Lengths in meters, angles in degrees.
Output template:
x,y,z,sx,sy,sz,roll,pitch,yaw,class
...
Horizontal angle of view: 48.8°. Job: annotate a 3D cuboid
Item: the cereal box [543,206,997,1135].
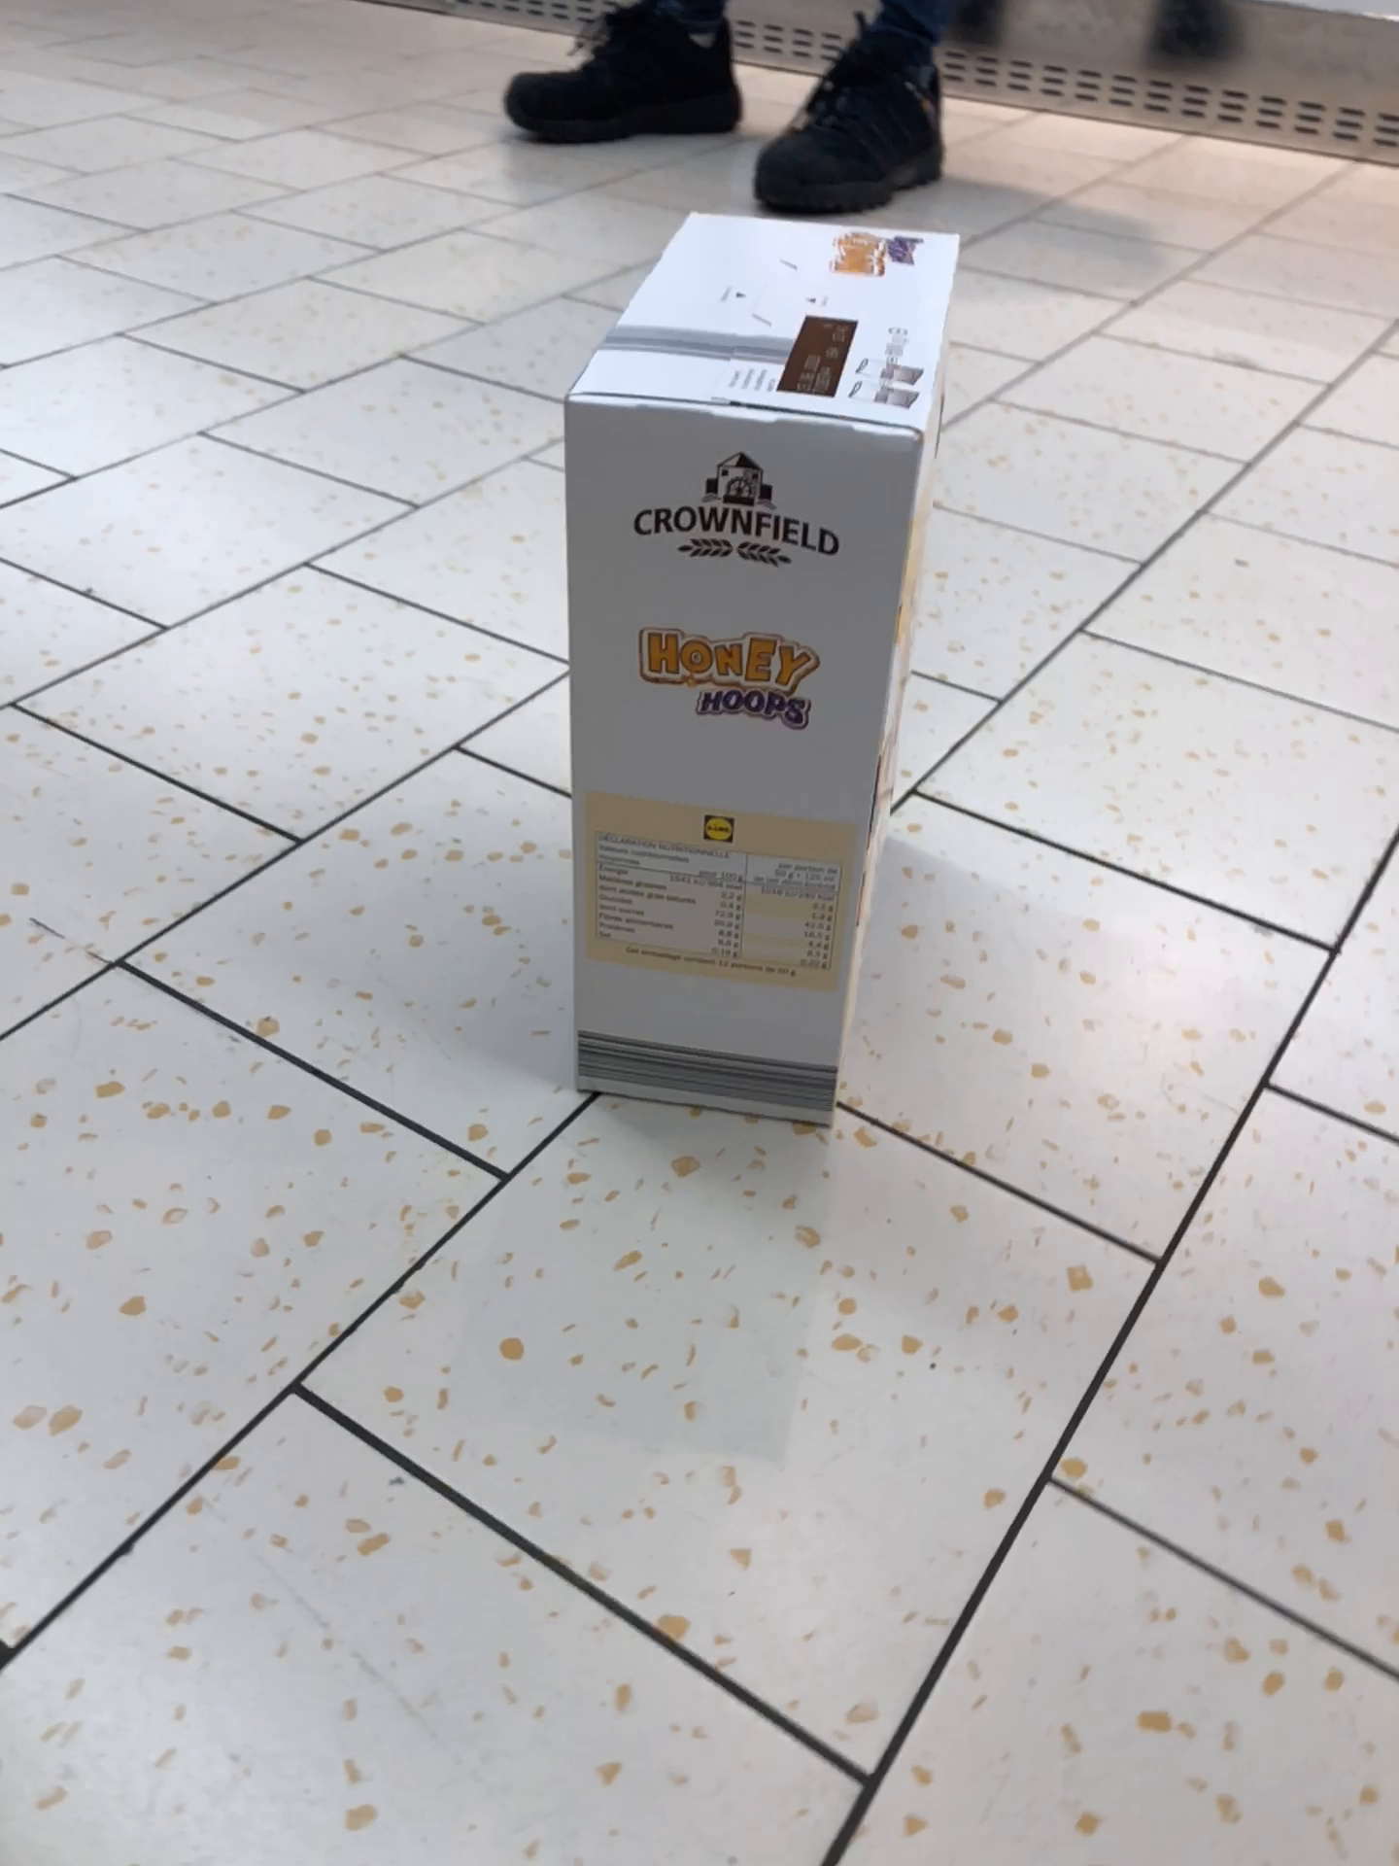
x,y,z,sx,sy,sz,roll,pitch,yaw,class
0.029,-0.098,0.554,0.110,0.248,0.211,8,38,7,cereal box
